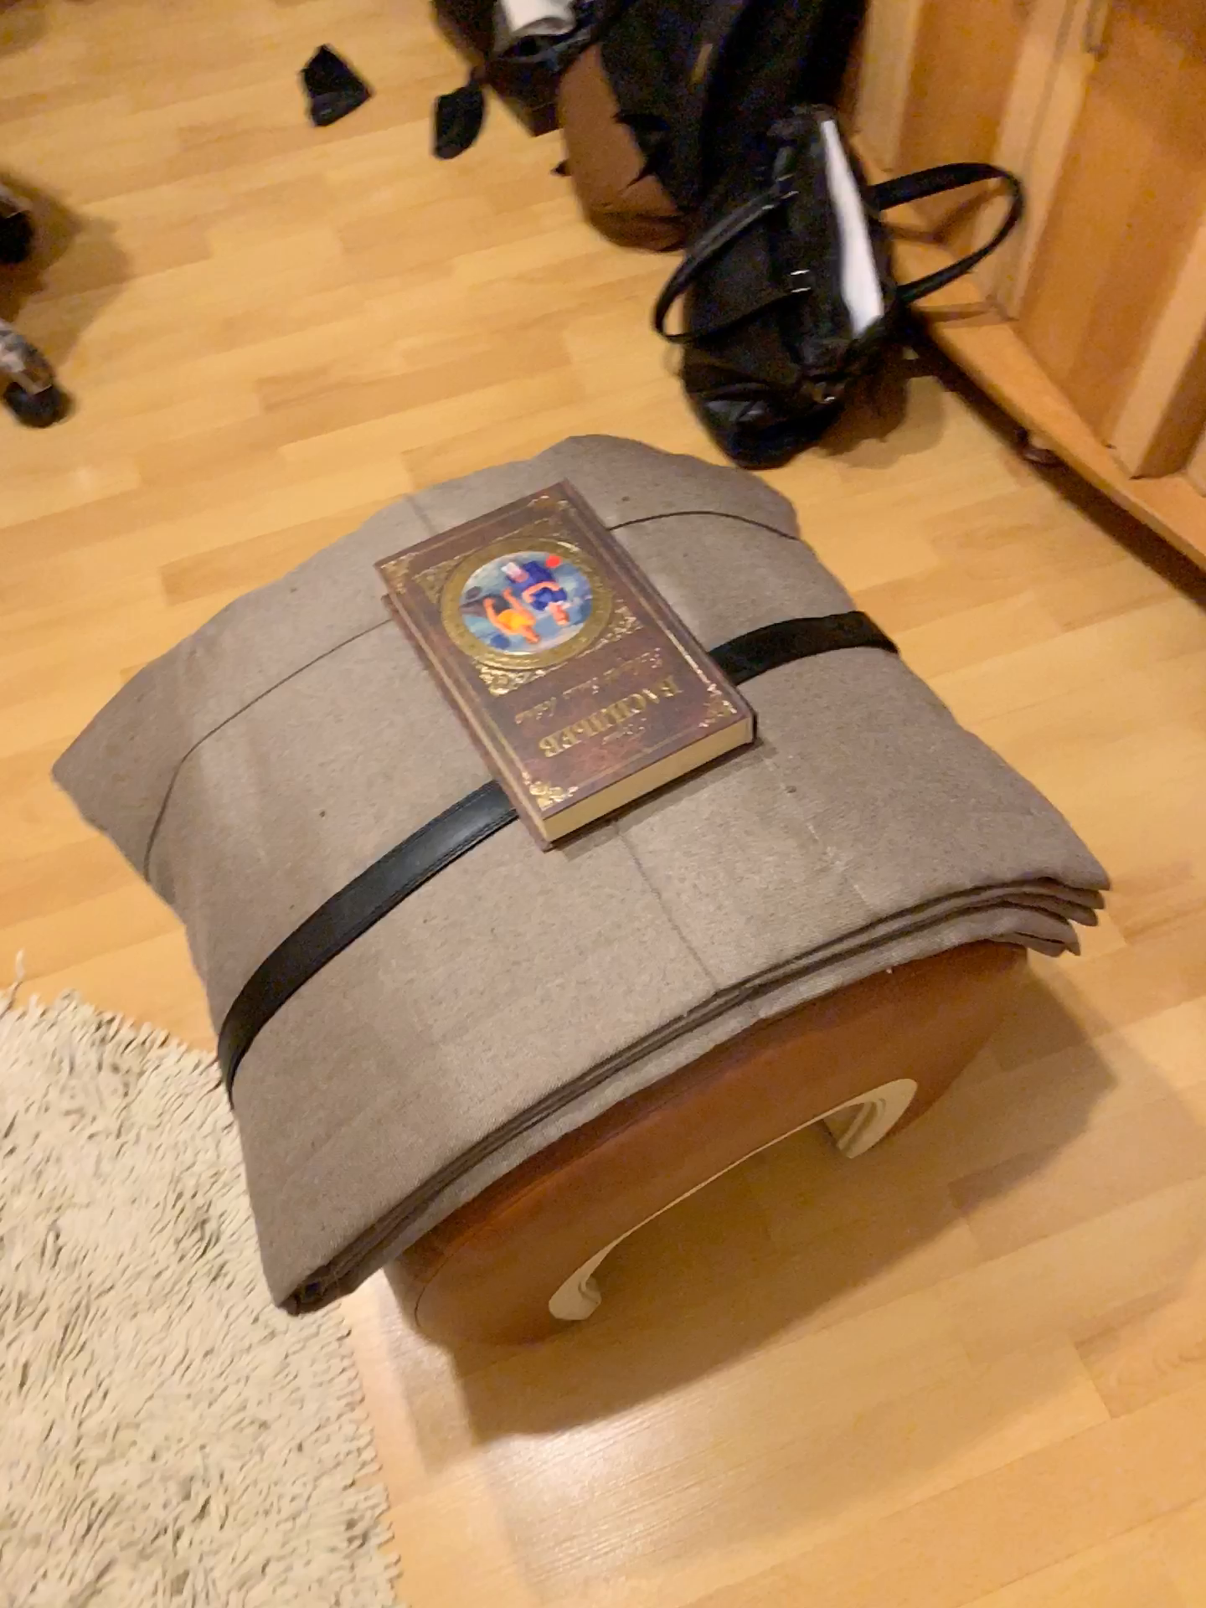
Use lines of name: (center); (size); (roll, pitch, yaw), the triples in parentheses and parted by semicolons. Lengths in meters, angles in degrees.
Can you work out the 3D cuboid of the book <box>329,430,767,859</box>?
book: (-0.034, -0.094, 0.652); (0.140, 0.050, 0.221); (-27, 56, -13)
